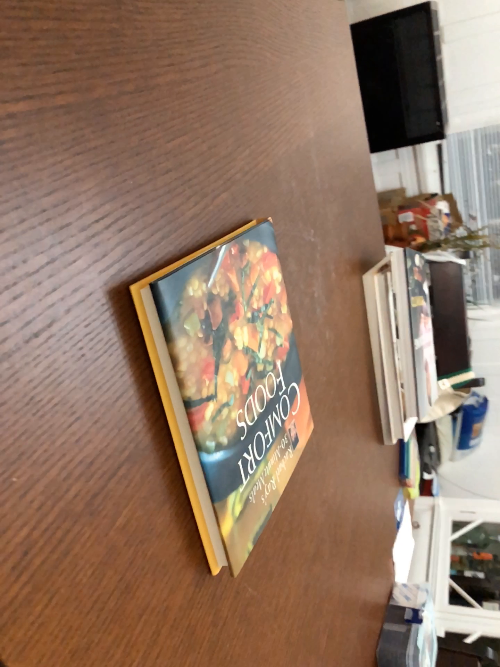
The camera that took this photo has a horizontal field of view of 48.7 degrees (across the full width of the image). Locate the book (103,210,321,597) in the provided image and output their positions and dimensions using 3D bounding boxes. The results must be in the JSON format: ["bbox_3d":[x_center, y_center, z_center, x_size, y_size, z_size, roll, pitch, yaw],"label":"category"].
[{"bbox_3d":[-0.006,0.032,0.407,0.201,0.030,0.210,-44,125,-59],"label":"book"}]
